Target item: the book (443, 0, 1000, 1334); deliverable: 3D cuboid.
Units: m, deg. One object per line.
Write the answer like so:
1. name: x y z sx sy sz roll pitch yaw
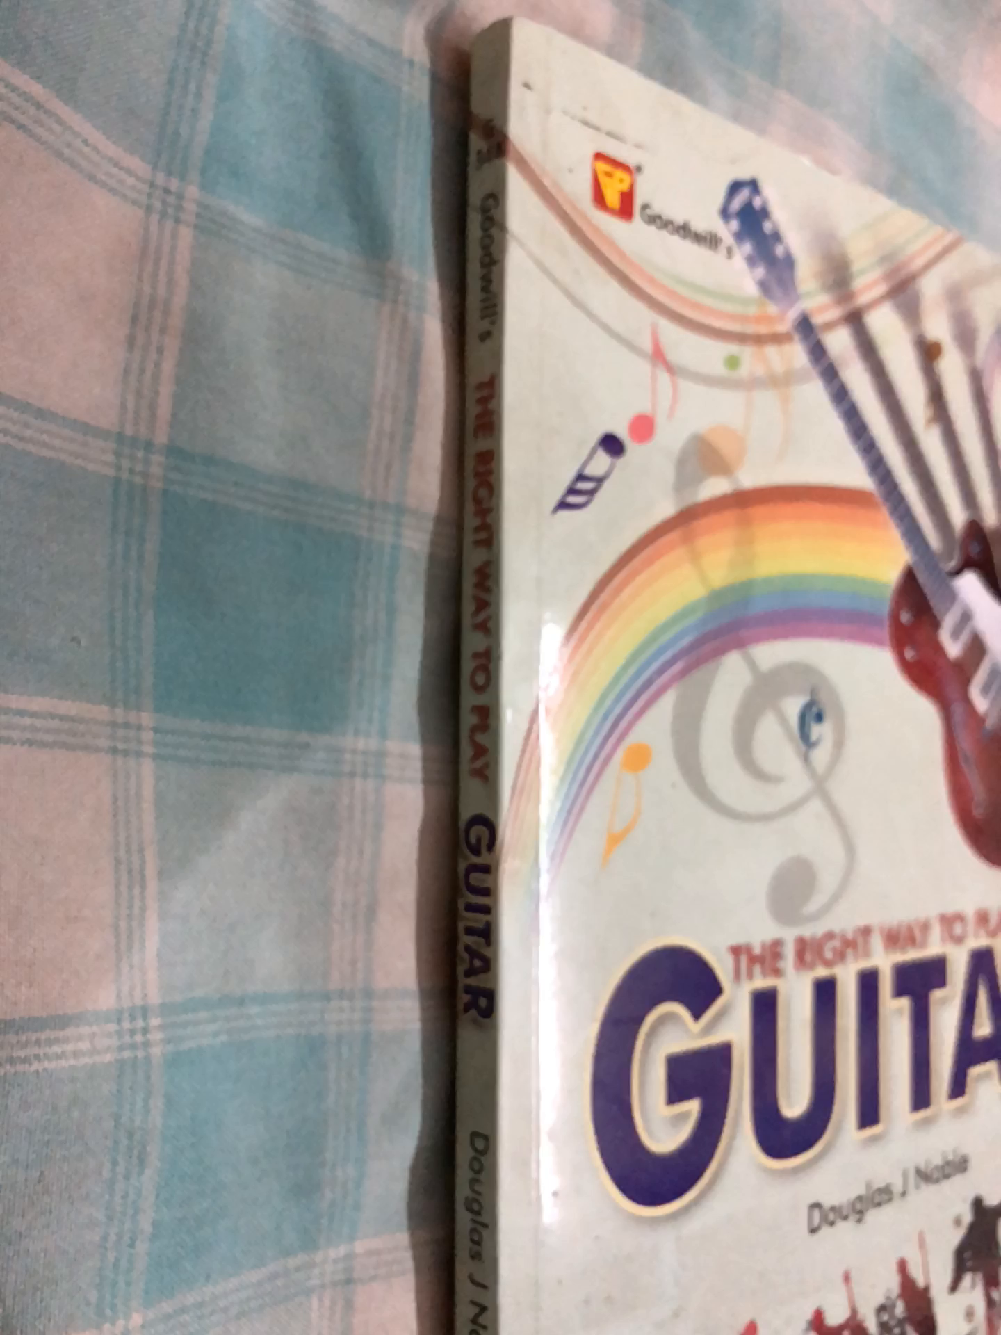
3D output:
1. book: 0.073 0.025 0.217 0.181 0.030 0.240 4 84 -37
